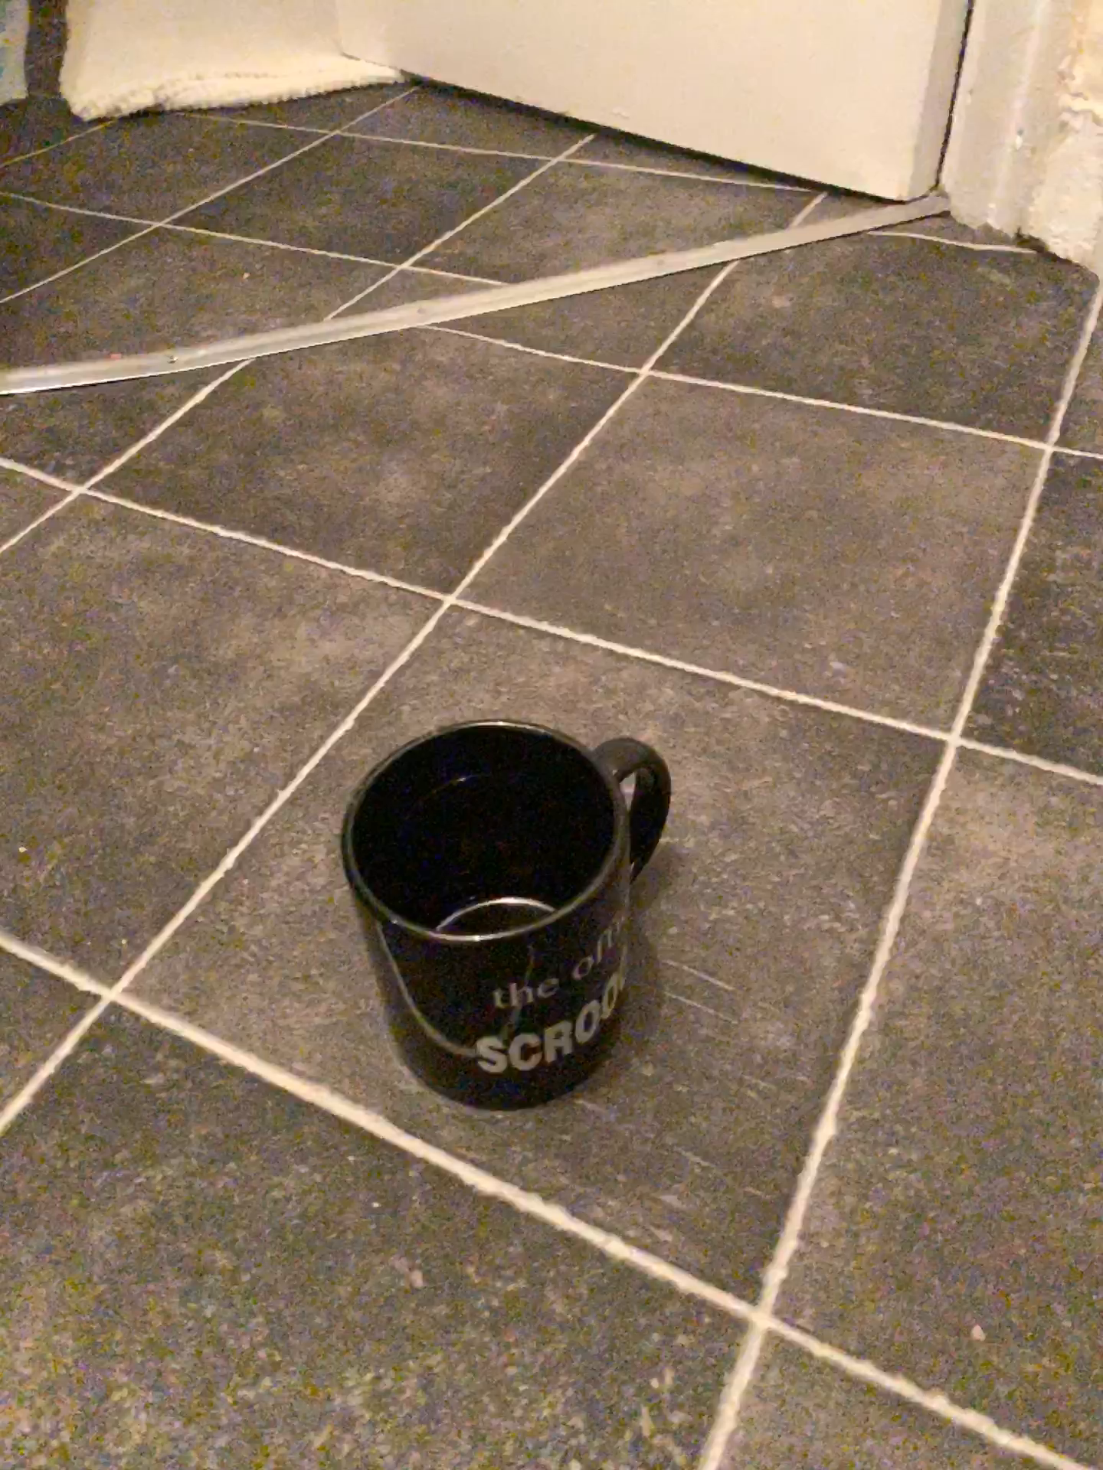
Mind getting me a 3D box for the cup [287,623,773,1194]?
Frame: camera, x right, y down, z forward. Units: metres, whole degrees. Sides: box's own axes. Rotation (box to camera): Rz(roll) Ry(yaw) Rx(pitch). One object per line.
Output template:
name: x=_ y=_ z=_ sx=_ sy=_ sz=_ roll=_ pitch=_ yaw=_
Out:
cup: x=-0.002 y=0.053 z=0.362 sx=0.080 sy=0.114 sz=0.117 roll=33 pitch=55 yaw=31
